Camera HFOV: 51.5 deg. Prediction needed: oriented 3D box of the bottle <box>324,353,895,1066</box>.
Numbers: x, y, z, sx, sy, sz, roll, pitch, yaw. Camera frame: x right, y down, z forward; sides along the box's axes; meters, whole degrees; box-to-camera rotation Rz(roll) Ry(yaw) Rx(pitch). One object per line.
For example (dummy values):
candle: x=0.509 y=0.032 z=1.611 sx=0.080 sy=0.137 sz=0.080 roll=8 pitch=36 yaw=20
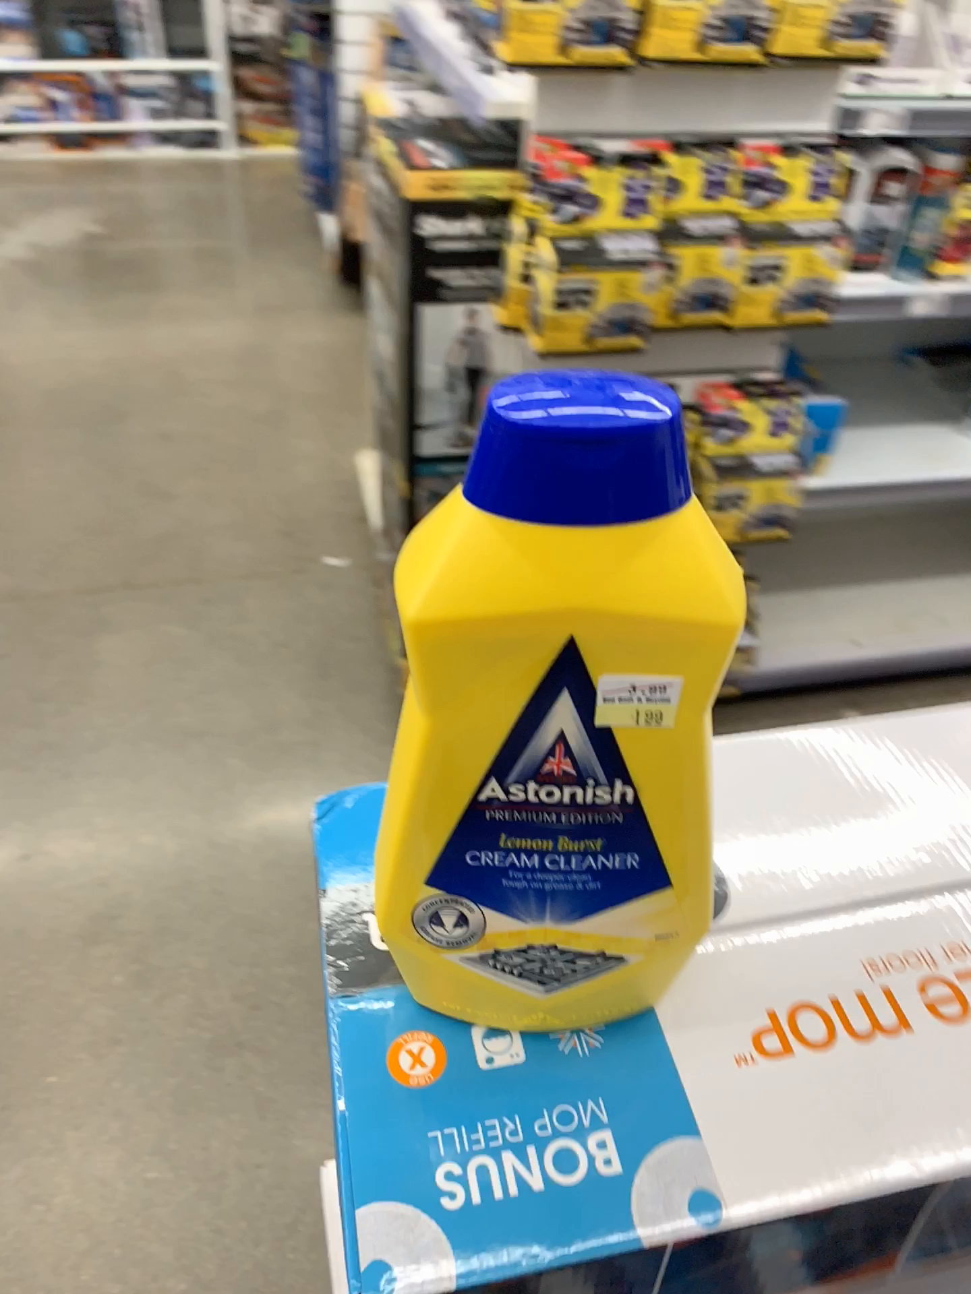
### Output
bottle: x=0.018 y=0.029 z=0.258 sx=0.100 sy=0.189 sz=0.060 roll=0 pitch=39 yaw=-3
